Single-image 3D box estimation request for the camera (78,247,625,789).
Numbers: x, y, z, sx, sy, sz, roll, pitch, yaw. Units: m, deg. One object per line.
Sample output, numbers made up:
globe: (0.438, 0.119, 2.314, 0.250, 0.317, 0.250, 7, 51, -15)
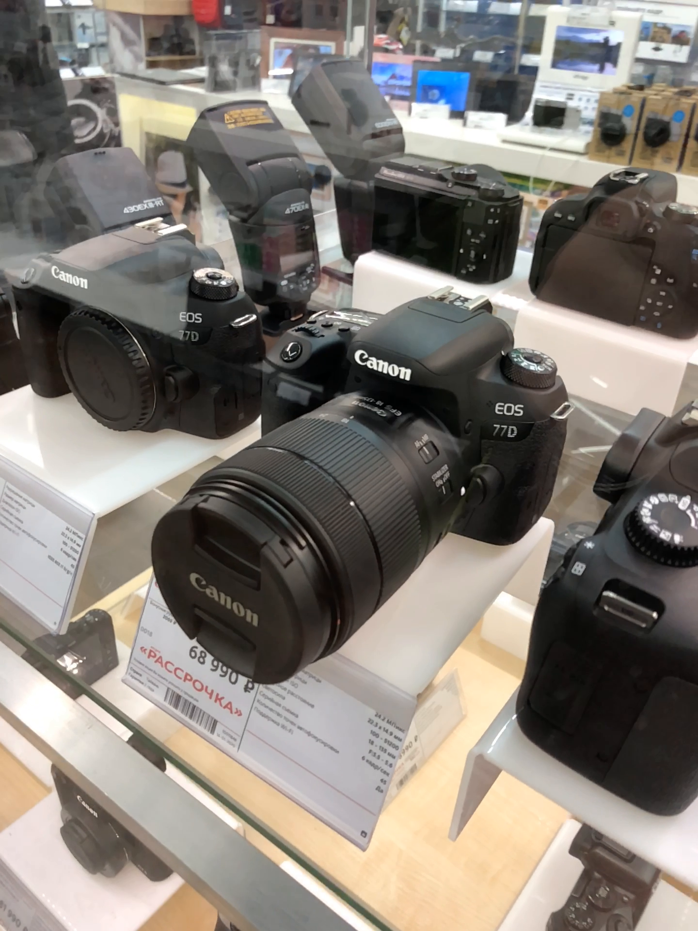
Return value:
camera: (0.008, 0.002, 0.320, 0.132, 0.119, 0.168, 23, 38, 28)
